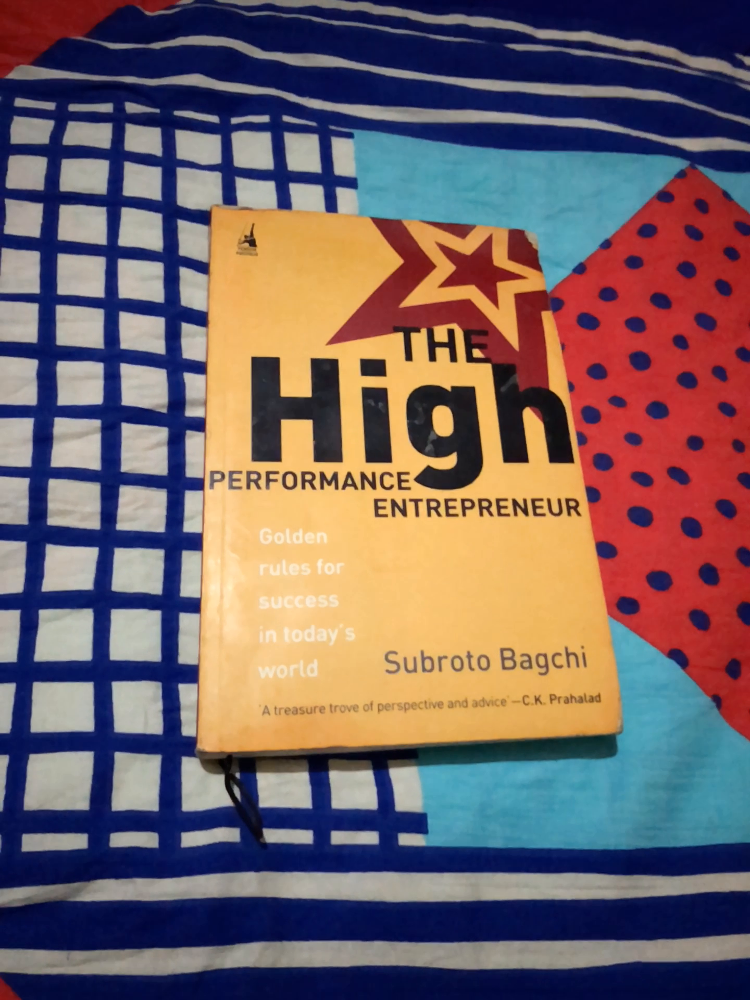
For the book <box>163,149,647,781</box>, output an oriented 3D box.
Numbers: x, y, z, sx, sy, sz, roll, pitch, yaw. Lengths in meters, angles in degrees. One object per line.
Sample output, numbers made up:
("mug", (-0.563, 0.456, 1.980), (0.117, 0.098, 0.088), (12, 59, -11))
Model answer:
("book", (0.004, -0.023, 0.306), (0.140, 0.040, 0.230), (1, 64, -9))
